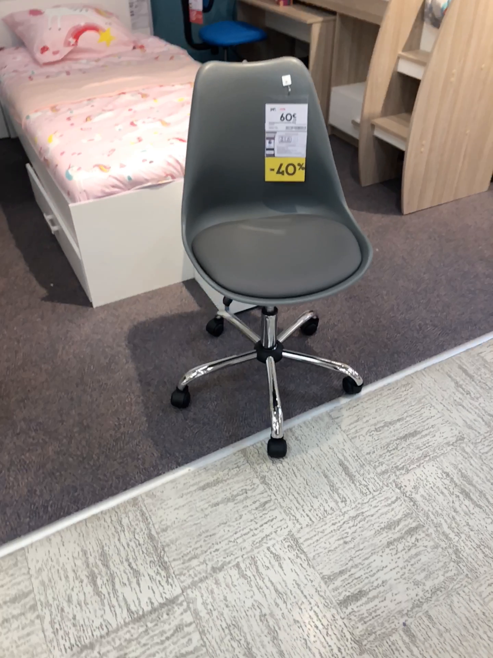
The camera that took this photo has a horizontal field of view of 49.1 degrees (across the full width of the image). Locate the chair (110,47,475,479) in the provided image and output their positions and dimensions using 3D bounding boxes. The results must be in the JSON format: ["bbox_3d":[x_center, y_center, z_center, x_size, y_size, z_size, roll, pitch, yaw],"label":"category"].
[{"bbox_3d":[0.043,-0.184,1.413,0.601,0.835,0.633,-10,41,-12],"label":"chair"}]
